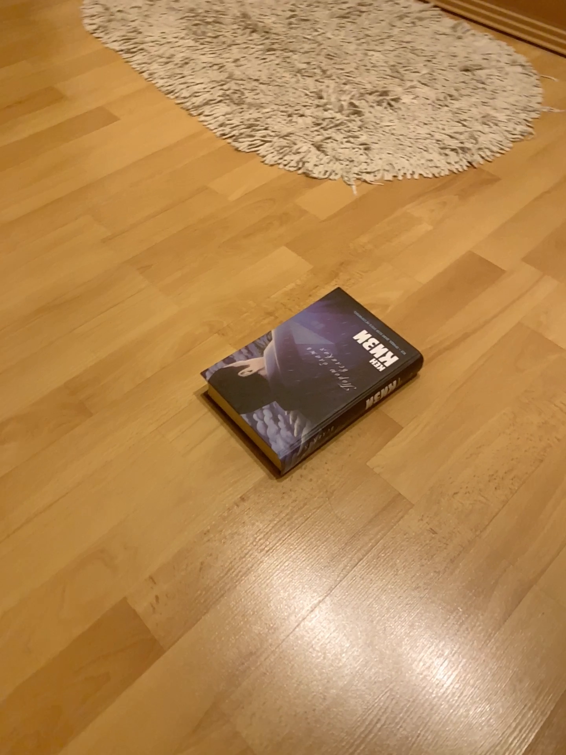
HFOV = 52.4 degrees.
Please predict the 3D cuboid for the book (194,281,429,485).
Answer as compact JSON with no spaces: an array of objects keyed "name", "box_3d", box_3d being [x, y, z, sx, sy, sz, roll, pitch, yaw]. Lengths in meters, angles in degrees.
[{"name":"book","box_3d":[0.034,-0.004,0.675,0.224,0.050,0.151,-33,61,-23]}]
